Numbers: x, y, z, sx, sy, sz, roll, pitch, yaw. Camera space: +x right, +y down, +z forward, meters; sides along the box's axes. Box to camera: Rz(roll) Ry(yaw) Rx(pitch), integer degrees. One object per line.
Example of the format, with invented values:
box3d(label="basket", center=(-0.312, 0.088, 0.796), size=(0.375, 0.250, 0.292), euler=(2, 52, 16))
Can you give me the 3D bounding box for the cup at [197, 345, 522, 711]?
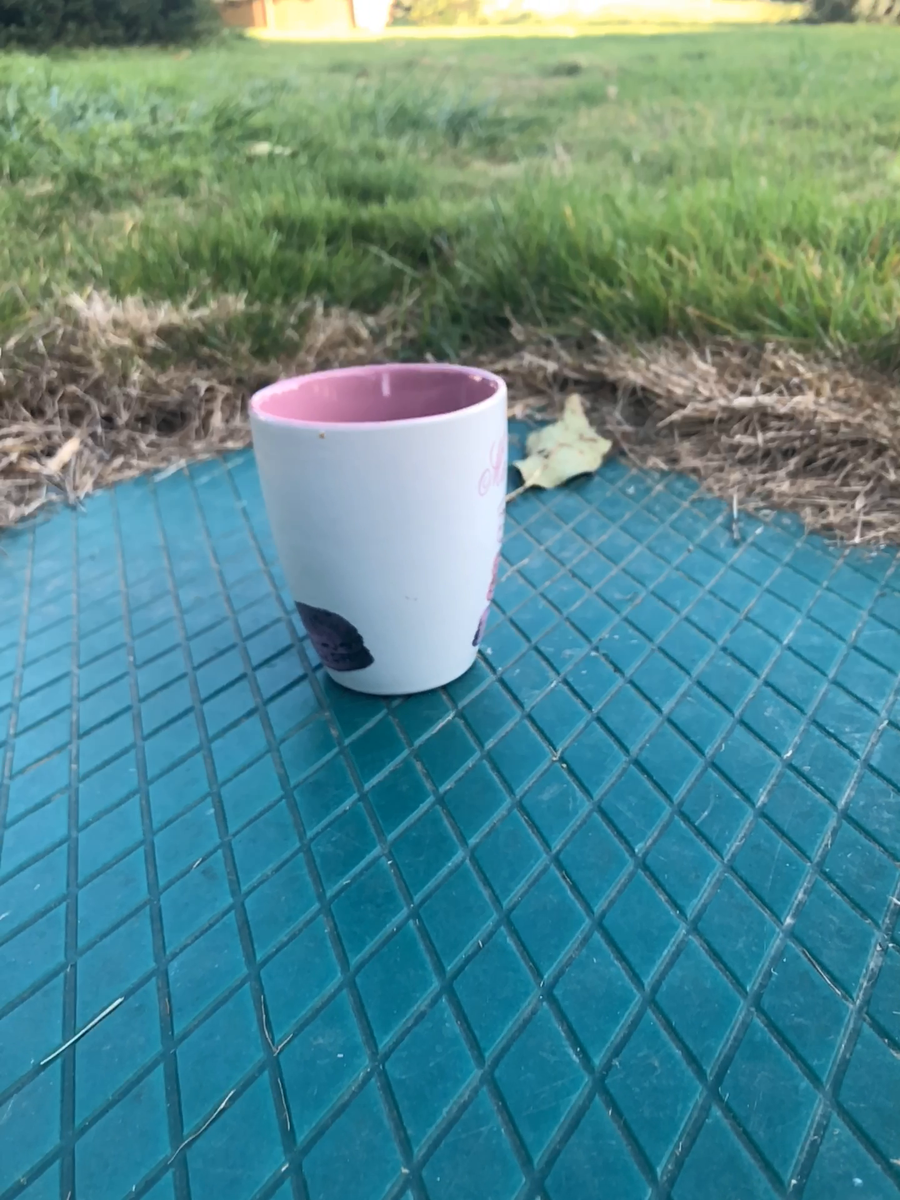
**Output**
box3d(label="cup", center=(-0.026, -0.033, 0.375), size=(0.095, 0.091, 0.121), euler=(-4, 27, 1))
